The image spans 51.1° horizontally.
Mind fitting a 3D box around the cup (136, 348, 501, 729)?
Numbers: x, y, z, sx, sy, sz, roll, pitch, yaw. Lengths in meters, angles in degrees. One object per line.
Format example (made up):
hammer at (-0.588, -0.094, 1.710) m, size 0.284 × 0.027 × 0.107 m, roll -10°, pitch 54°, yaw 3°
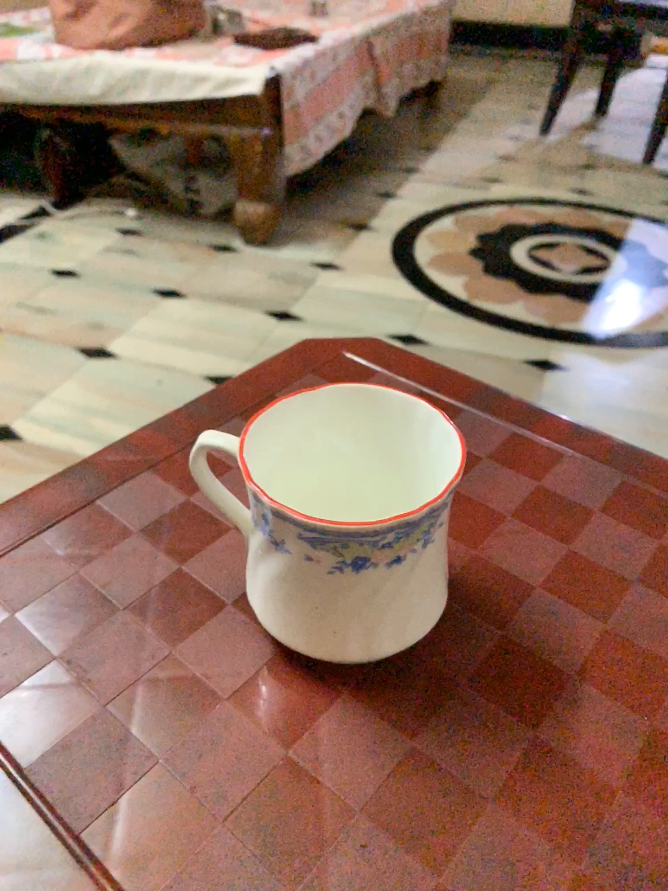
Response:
cup at (-0.001, 0.027, 0.233) m, size 0.090 × 0.080 × 0.070 m, roll 13°, pitch 39°, yaw 15°
